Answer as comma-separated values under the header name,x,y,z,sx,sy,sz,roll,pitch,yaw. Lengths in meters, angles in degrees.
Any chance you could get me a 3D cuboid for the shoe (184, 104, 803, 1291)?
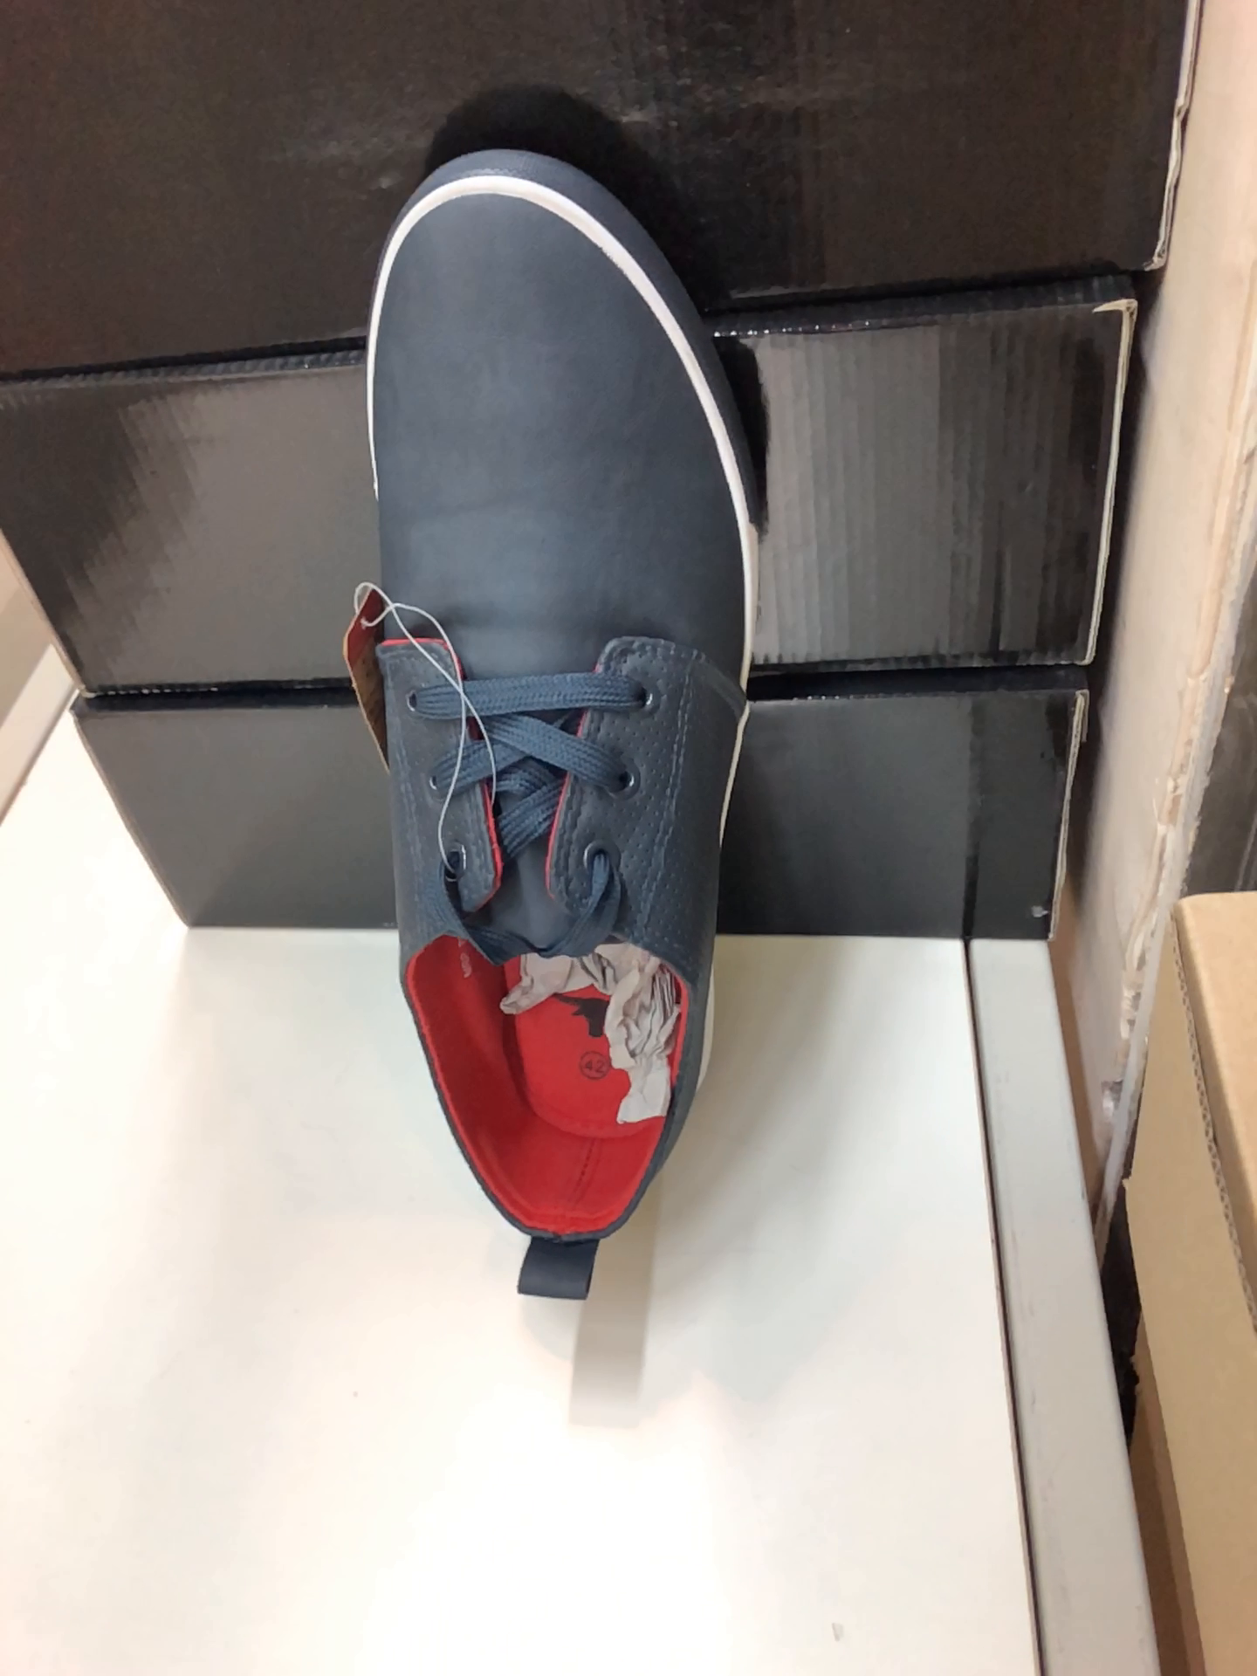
name,x,y,z,sx,sy,sz,roll,pitch,yaw
shoe,-0.019,-0.031,0.367,0.103,0.269,0.101,1,20,16
